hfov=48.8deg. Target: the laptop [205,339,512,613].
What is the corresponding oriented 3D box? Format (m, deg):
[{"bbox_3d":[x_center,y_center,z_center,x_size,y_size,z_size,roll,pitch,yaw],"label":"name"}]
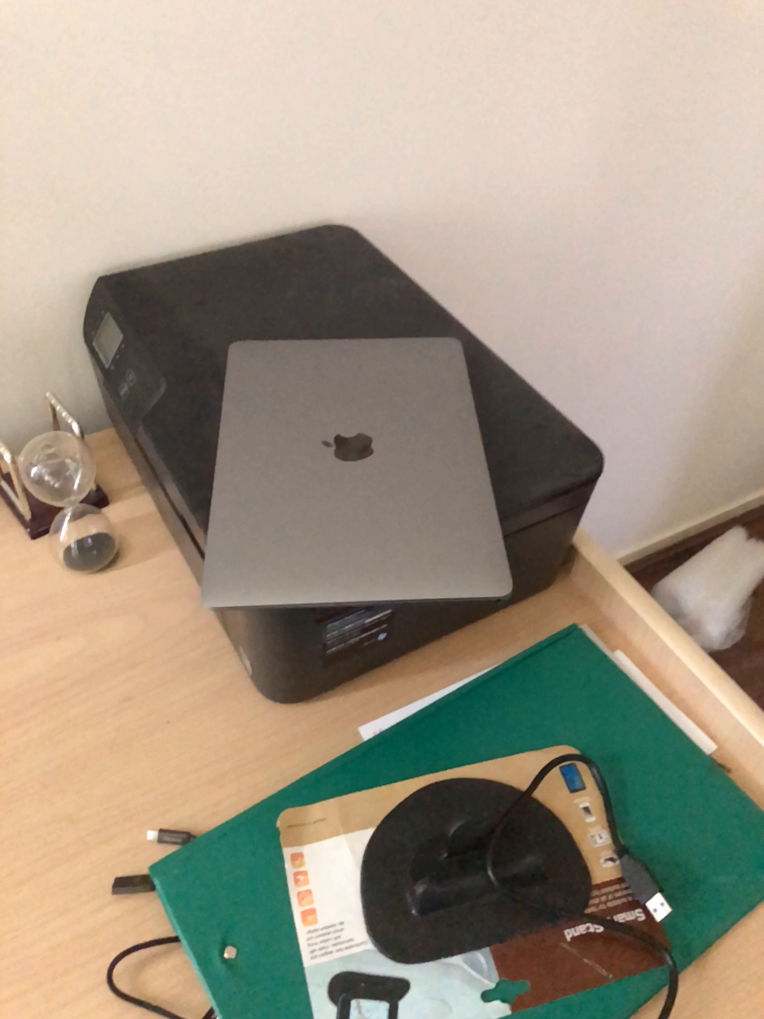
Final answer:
[{"bbox_3d":[-0.021,-0.039,0.610,0.188,0.007,0.267,-2,47,-2],"label":"laptop"}]
